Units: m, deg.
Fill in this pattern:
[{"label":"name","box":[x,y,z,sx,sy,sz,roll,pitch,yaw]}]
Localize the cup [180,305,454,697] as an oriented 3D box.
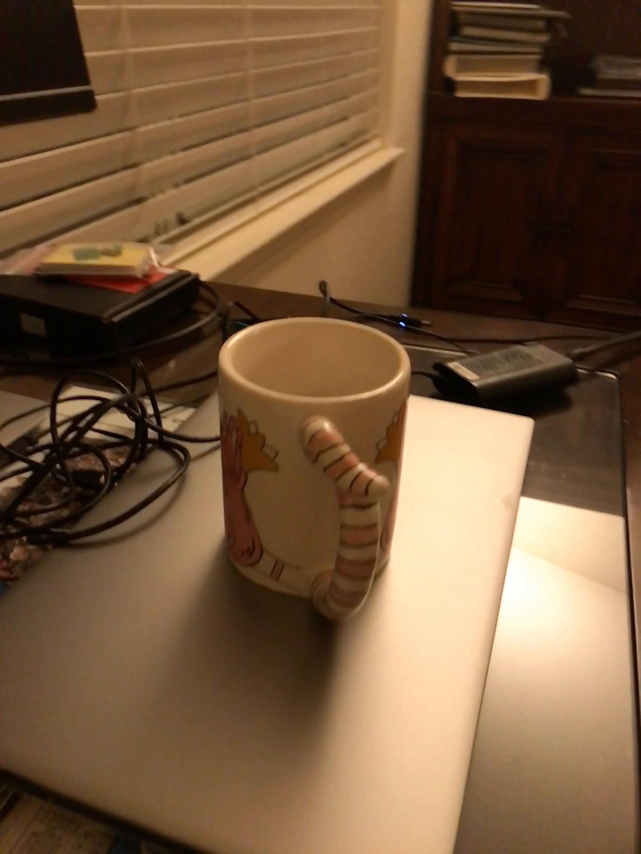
[{"label":"cup","box":[-0.003,0.021,0.285,0.080,0.099,0.131,0,31,-2]}]
